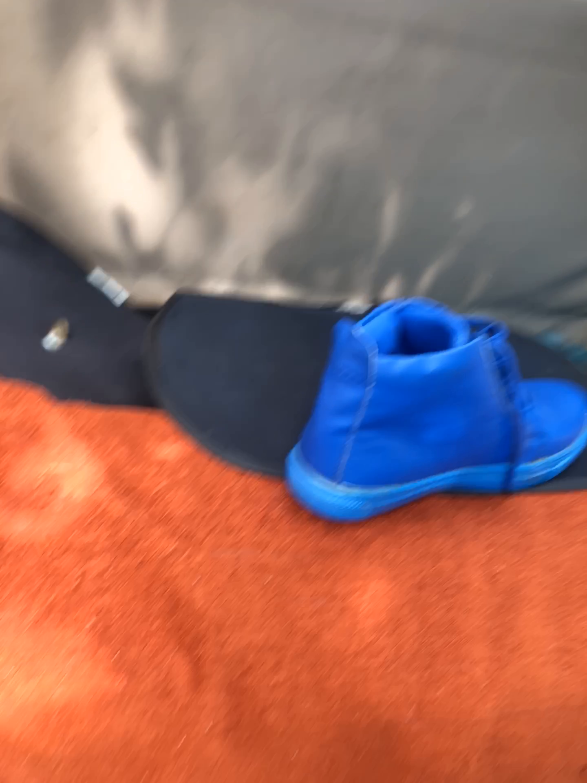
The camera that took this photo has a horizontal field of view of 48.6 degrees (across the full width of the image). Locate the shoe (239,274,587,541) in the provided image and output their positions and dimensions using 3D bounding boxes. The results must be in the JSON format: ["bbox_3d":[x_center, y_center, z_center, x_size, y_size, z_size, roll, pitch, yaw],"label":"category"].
[{"bbox_3d":[0.128,-0.004,0.503,0.301,0.119,0.130,-6,37,-27],"label":"shoe"}]
